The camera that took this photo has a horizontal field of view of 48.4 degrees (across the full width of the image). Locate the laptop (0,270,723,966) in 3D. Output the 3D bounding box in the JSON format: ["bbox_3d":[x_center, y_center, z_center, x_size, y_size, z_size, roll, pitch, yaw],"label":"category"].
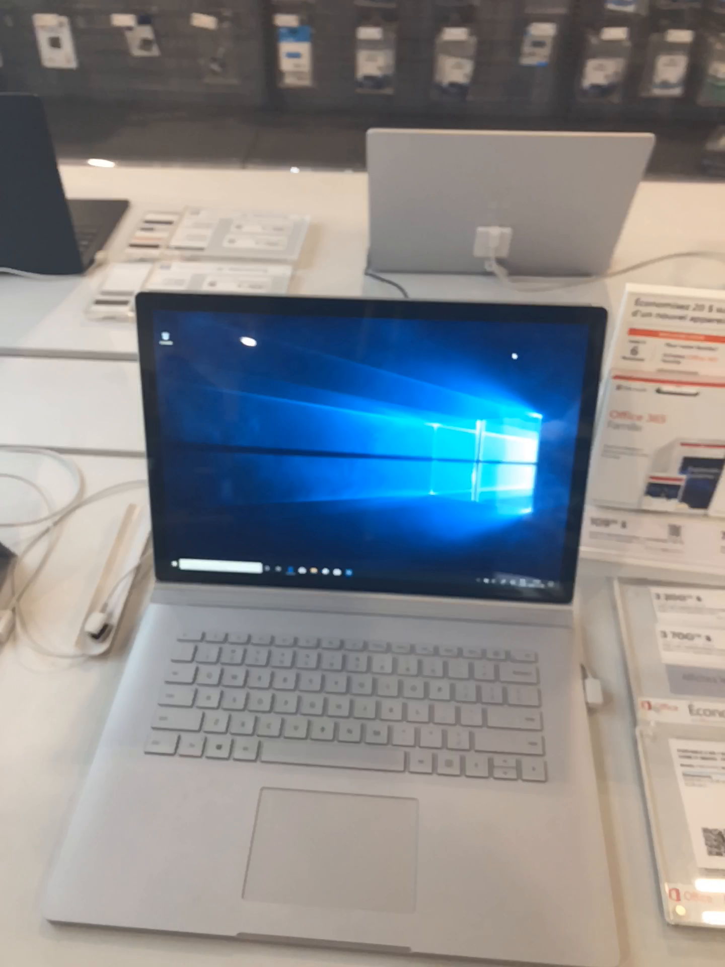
[{"bbox_3d":[-0.011,0.061,0.534,0.338,0.207,0.366,3,46,3],"label":"laptop"}]
